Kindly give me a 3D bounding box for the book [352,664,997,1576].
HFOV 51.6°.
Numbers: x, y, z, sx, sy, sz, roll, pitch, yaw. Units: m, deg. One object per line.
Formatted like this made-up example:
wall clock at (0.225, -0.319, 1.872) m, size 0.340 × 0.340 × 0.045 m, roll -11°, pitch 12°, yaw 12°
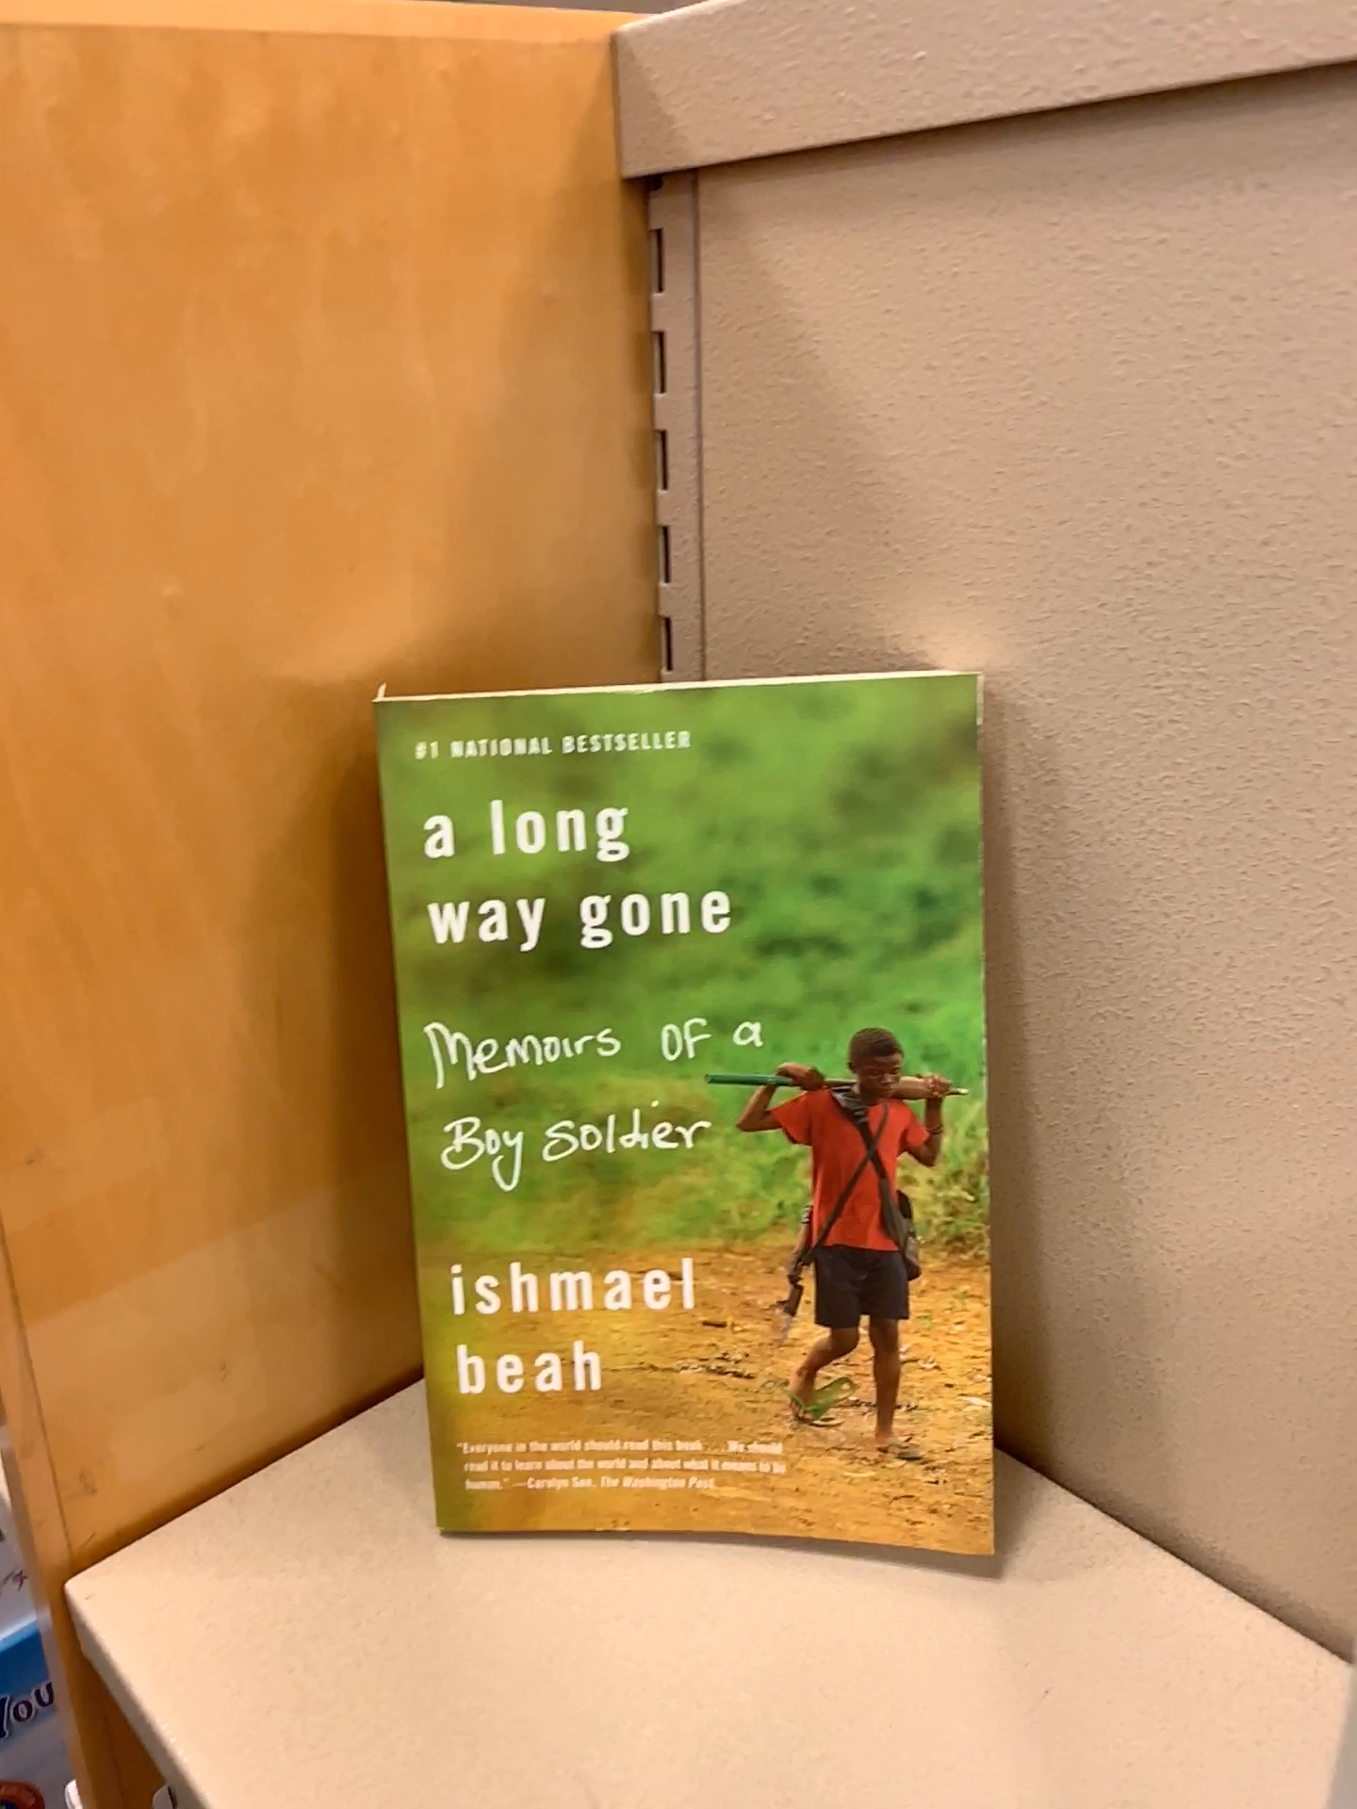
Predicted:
book at (0.002, 0.053, 0.331) m, size 0.140 × 0.210 × 0.020 m, roll -1°, pitch 9°, yaw 9°
